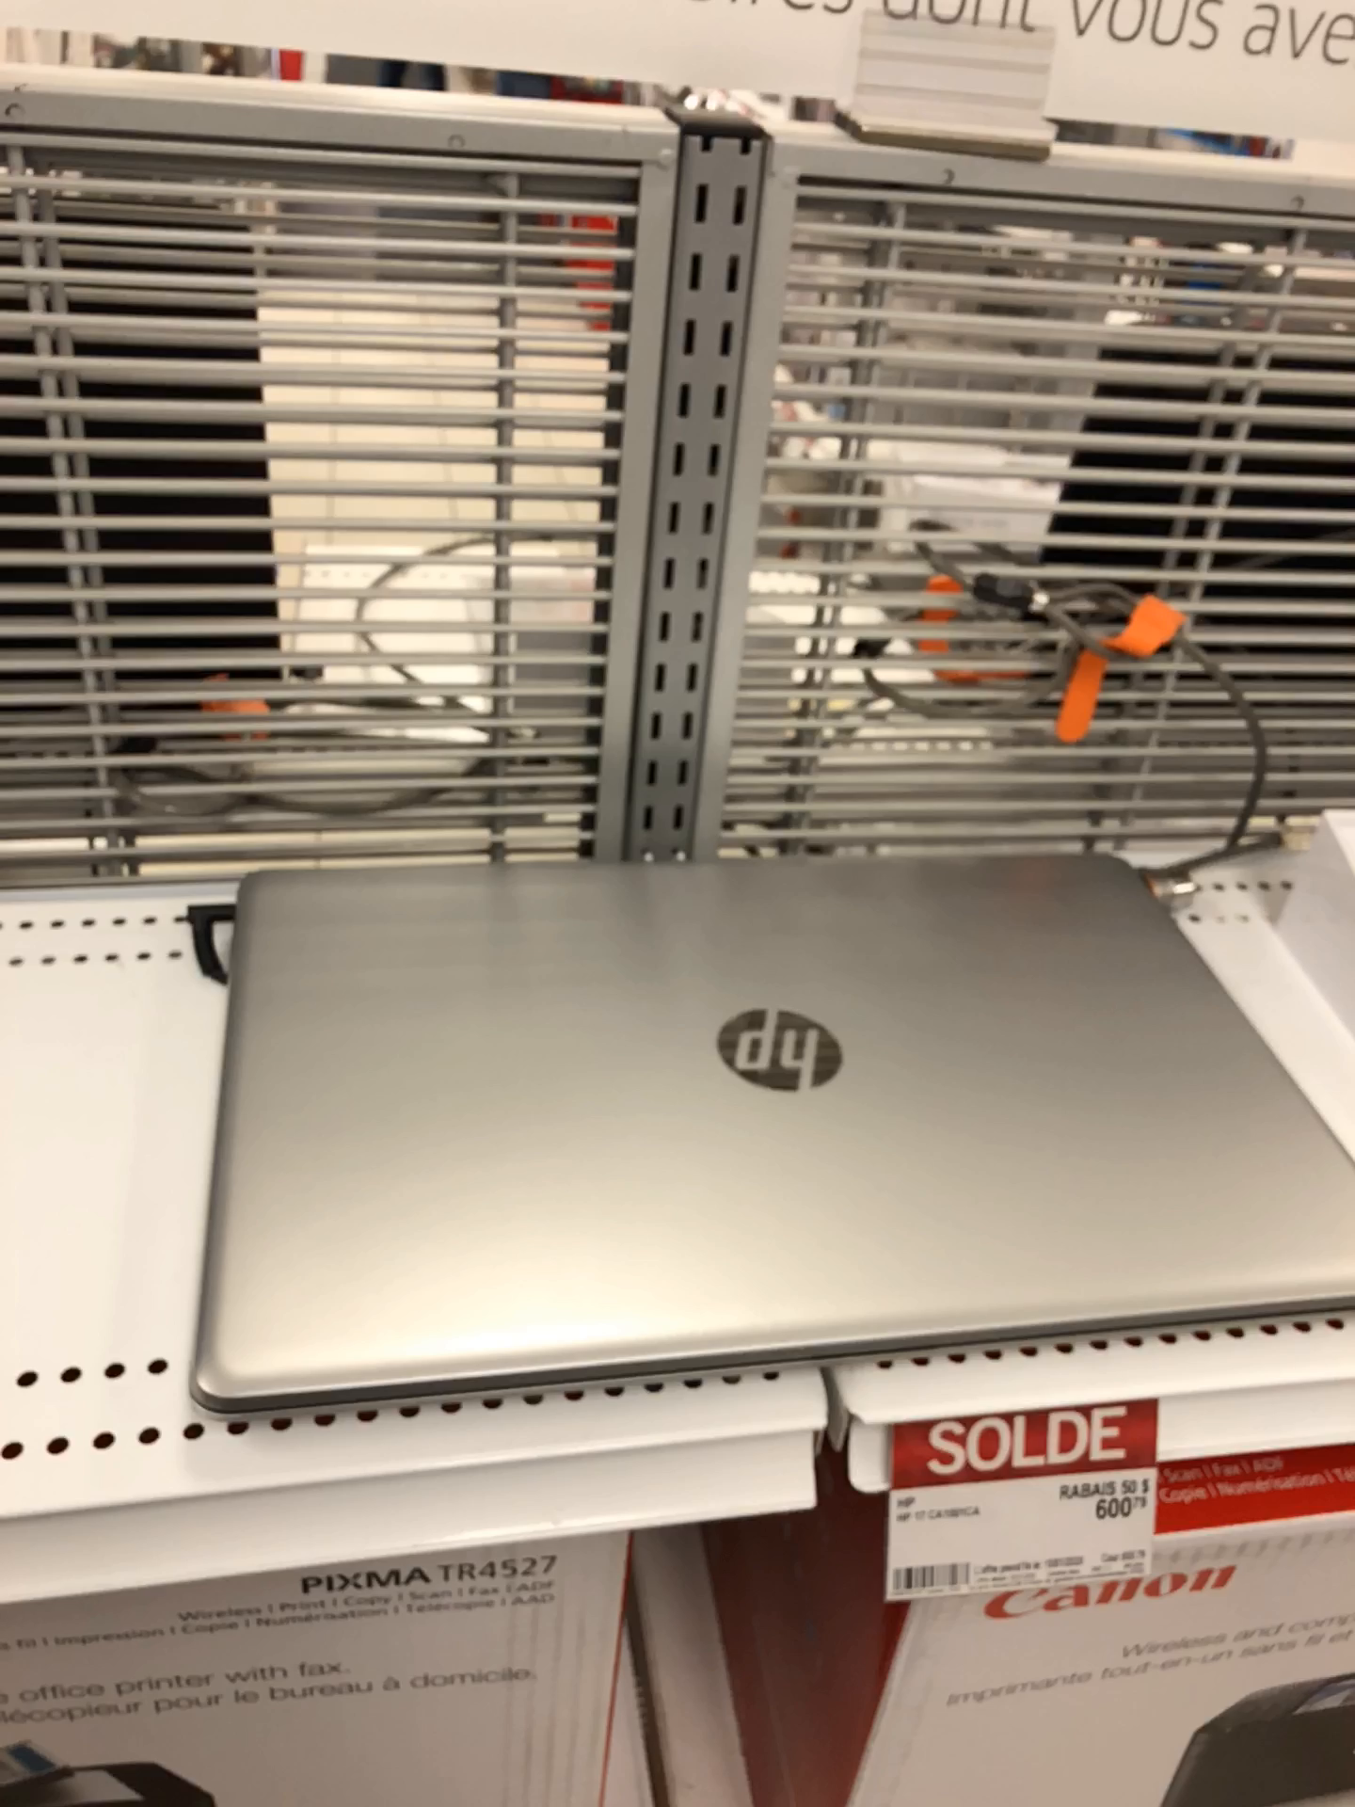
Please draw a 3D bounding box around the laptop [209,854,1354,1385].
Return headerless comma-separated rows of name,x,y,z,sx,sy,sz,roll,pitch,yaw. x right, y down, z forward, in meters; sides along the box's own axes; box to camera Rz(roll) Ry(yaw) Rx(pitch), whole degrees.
laptop,0.037,0.061,0.609,0.416,0.002,0.278,-2,35,-11
